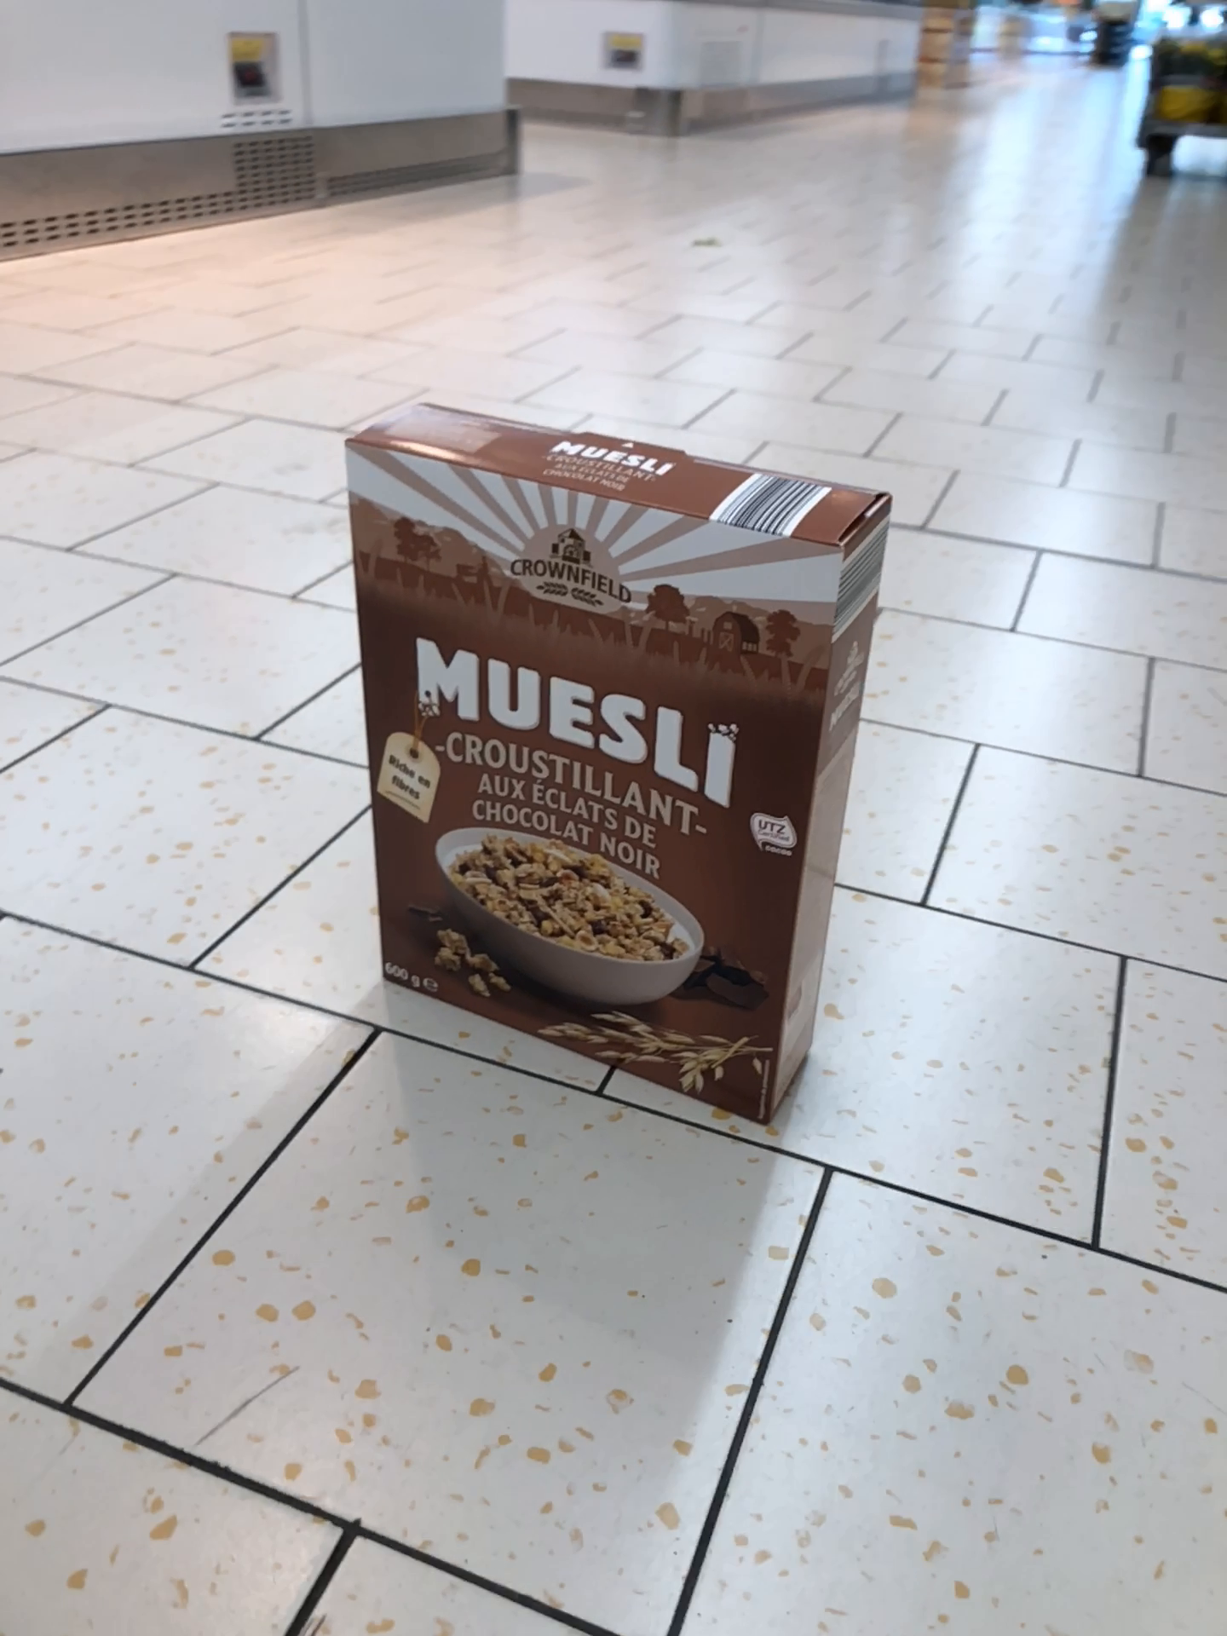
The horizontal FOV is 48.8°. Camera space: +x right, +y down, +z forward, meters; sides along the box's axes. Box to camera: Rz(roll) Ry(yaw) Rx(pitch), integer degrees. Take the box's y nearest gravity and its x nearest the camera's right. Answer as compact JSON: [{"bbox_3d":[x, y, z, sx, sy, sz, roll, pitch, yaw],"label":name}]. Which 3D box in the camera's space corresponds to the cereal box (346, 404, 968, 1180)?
[{"bbox_3d":[0.005,-0.012,0.513,0.200,0.239,0.070,19,33,24],"label":"cereal box"}]
